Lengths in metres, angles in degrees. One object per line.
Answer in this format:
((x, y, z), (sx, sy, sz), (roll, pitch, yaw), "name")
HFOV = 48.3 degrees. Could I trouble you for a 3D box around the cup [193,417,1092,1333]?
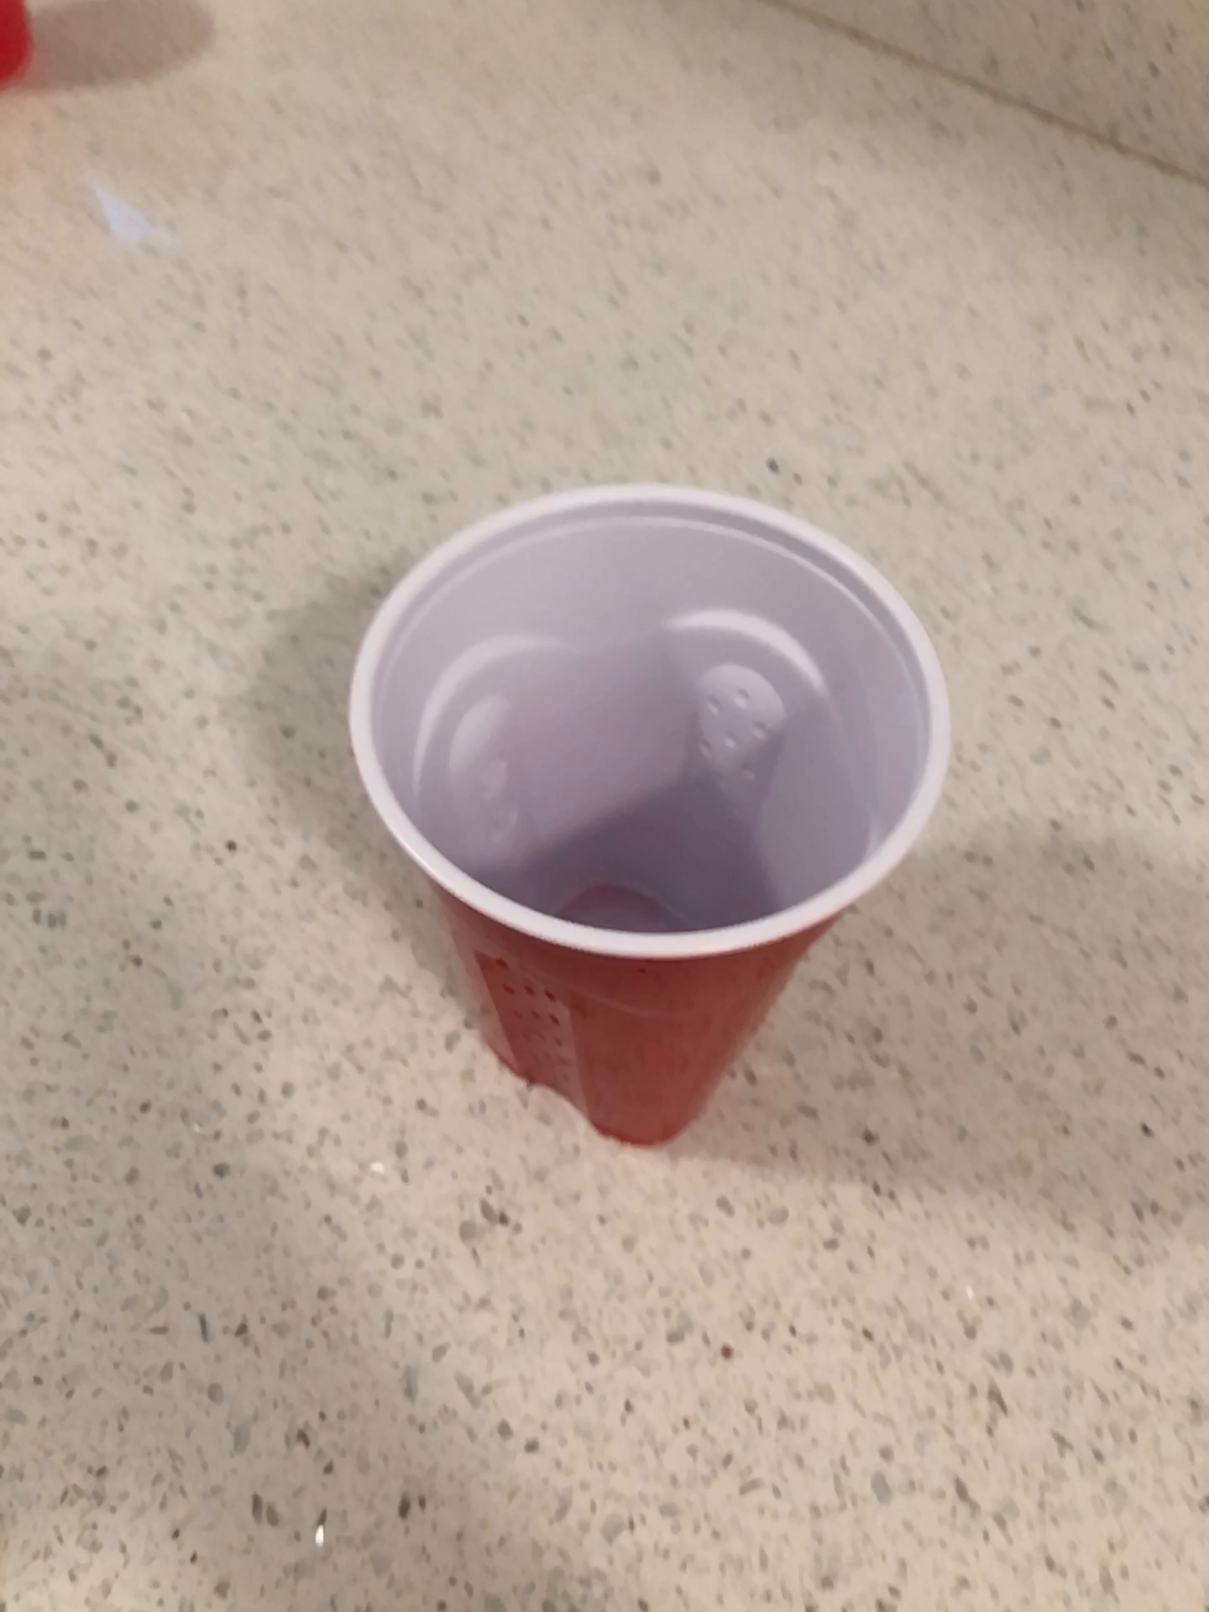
((0.008, 0.012, 0.250), (0.101, 0.092, 0.102), (0, 55, 0), "cup")
